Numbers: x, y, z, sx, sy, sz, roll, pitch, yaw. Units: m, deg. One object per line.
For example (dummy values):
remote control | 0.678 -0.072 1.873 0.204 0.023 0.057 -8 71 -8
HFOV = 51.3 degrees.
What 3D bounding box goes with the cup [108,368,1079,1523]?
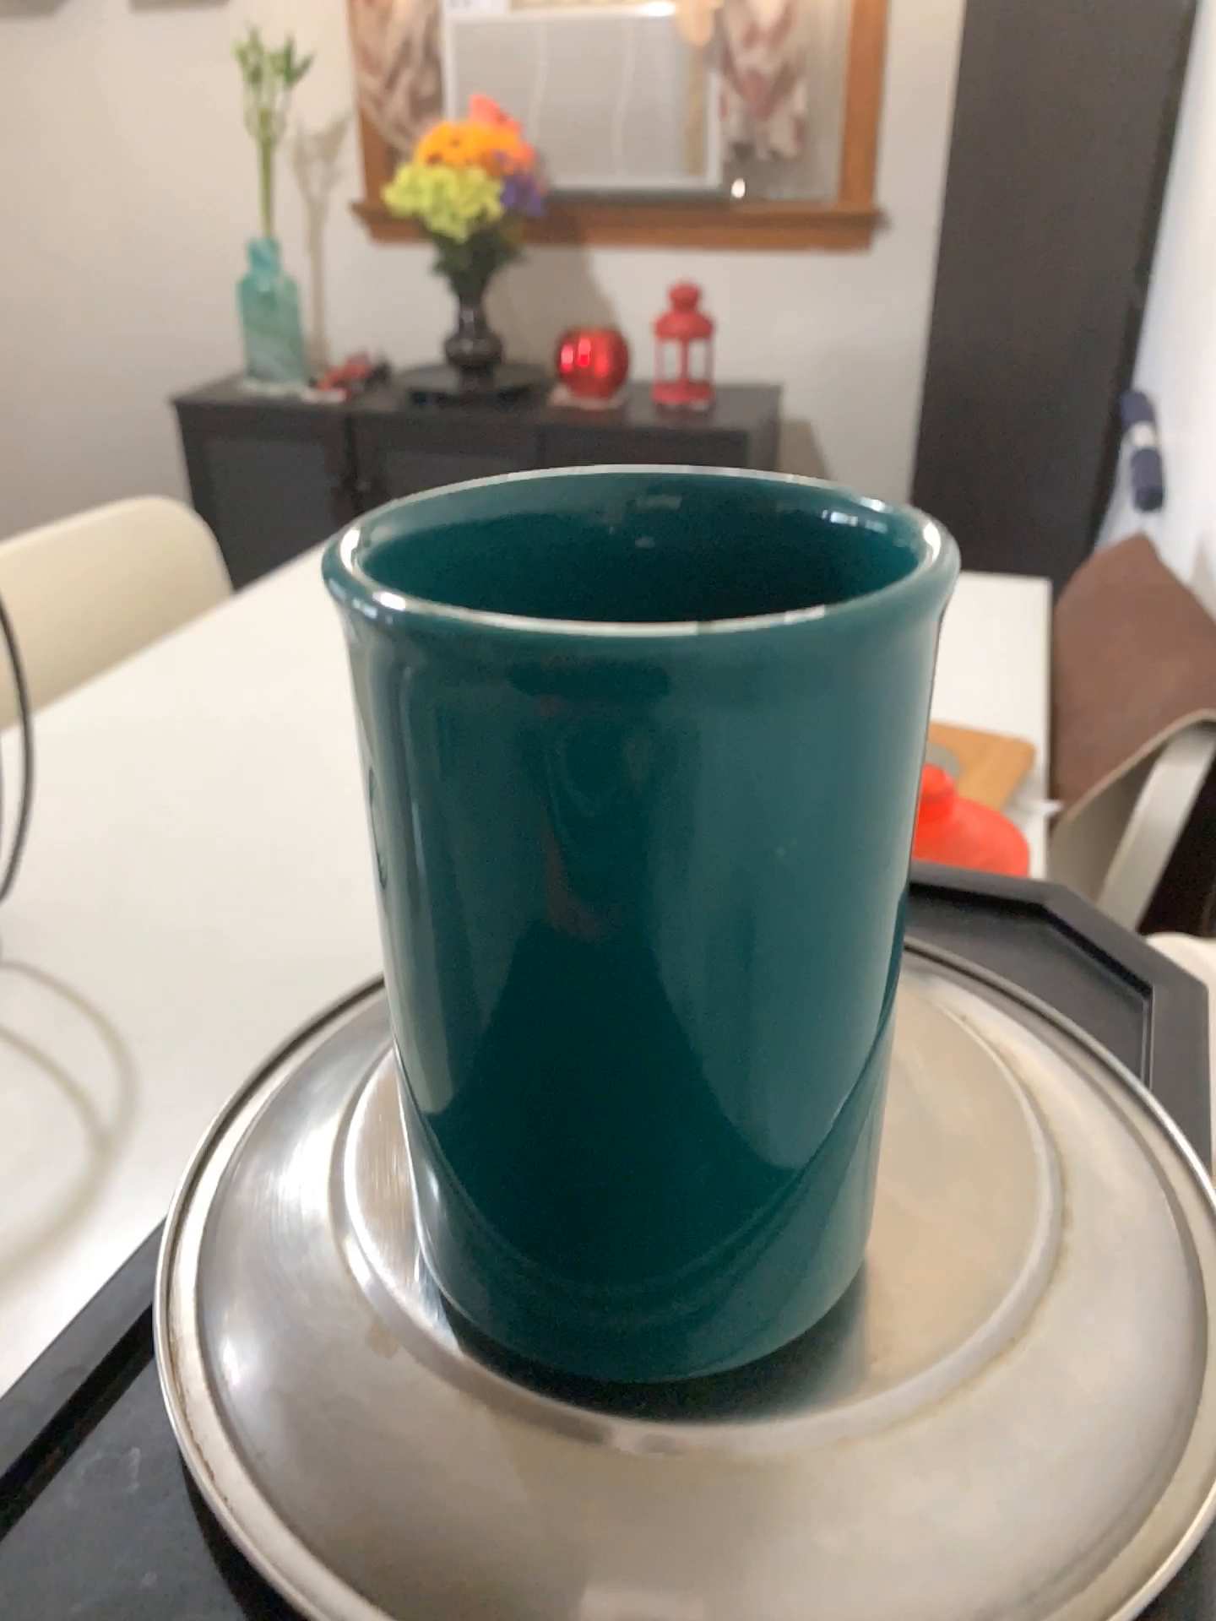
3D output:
cup | -0.011 0.004 0.199 0.080 0.119 0.121 -17 31 -29
